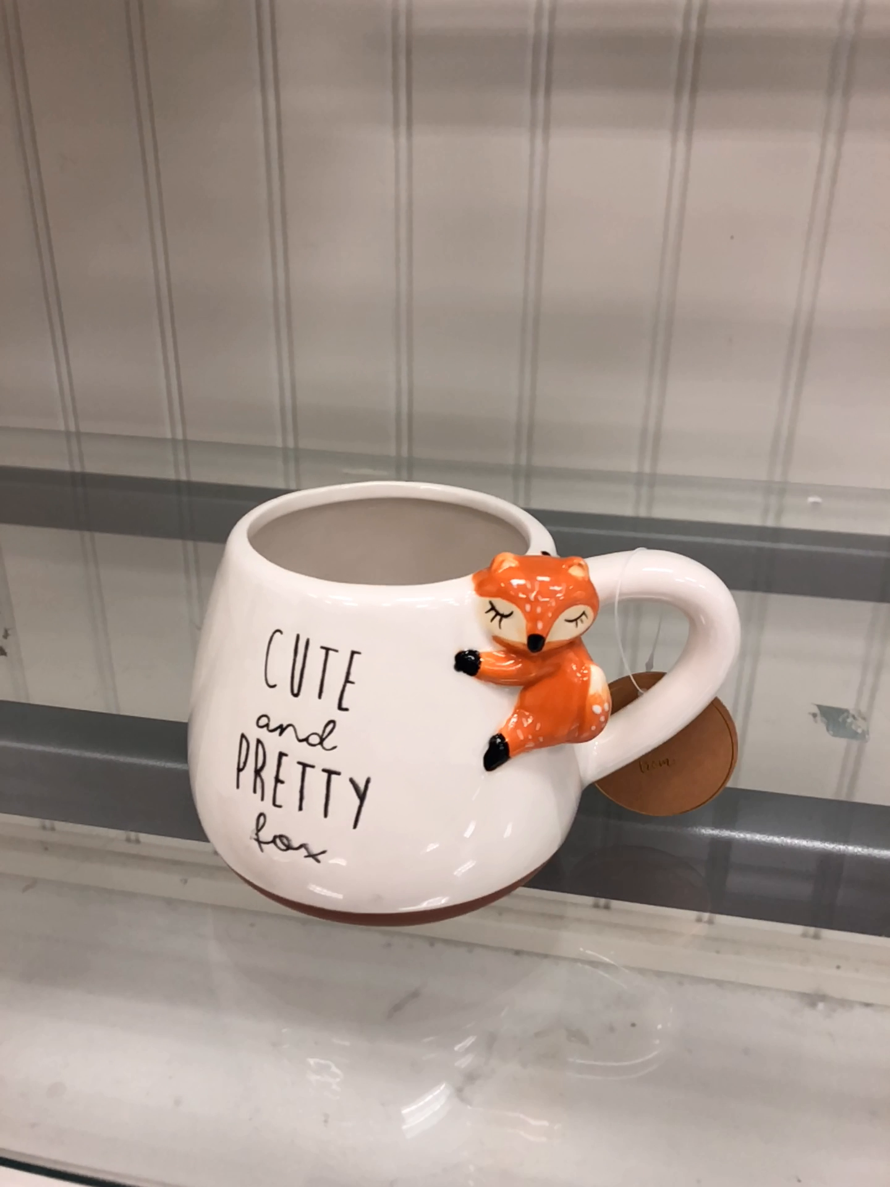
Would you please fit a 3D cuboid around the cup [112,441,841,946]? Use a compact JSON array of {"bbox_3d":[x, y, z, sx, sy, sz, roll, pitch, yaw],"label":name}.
[{"bbox_3d":[0.004,0.018,0.257,0.143,0.089,0.101,0,25,-3],"label":"cup"}]
